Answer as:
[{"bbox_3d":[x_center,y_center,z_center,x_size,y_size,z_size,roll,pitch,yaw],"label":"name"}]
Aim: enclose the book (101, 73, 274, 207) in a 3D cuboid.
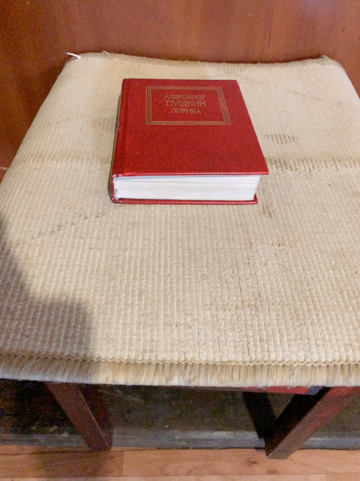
[{"bbox_3d":[0.002,-0.092,0.320,0.119,0.034,0.150,0,48,-3],"label":"book"}]
